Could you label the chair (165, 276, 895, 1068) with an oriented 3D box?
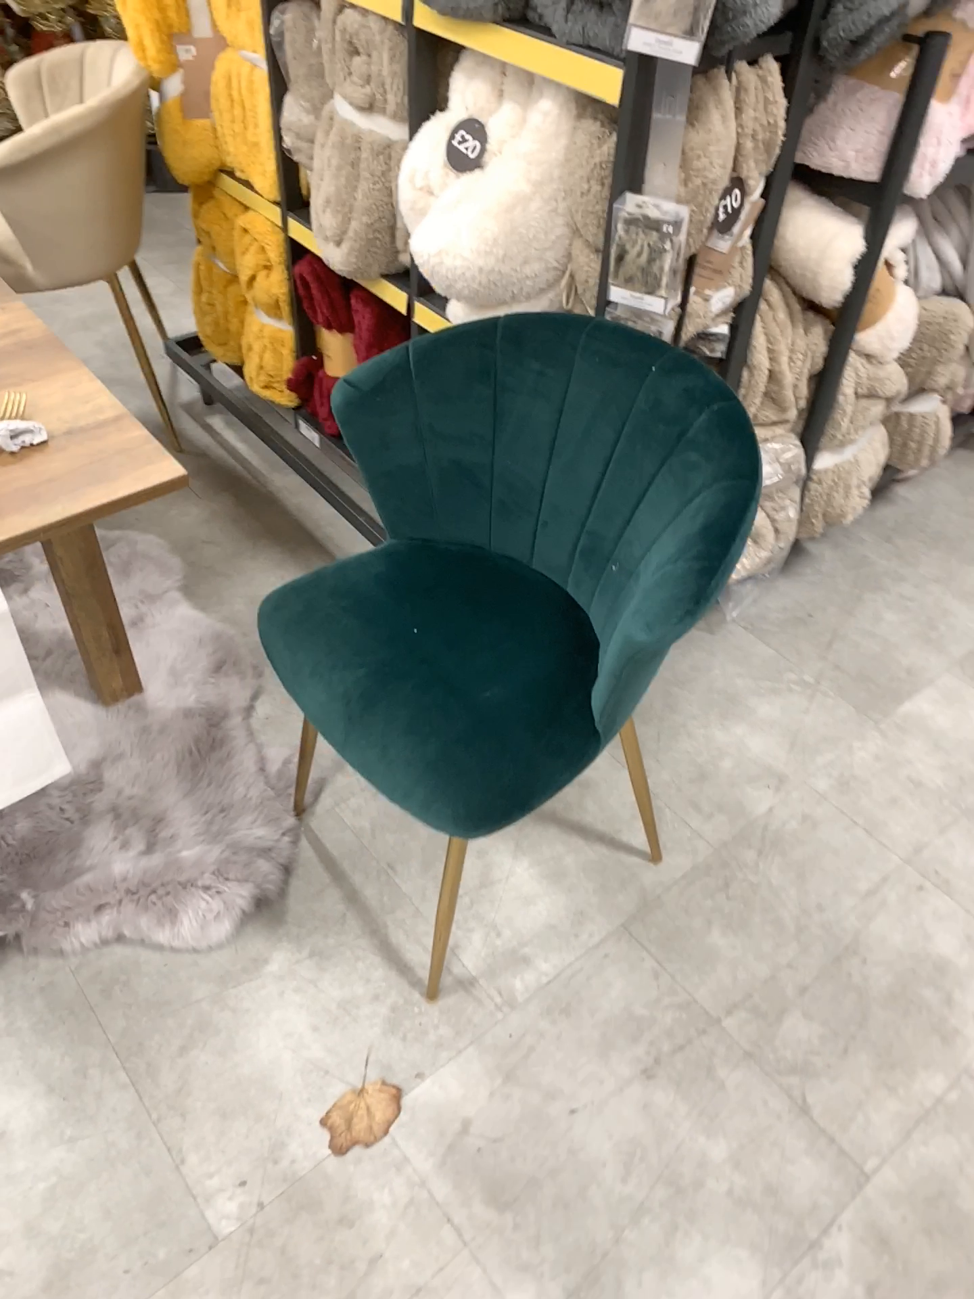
[{"bbox_3d":[0.029,0.012,1.304,0.571,0.692,0.550,-28,52,-28],"label":"chair"}]
